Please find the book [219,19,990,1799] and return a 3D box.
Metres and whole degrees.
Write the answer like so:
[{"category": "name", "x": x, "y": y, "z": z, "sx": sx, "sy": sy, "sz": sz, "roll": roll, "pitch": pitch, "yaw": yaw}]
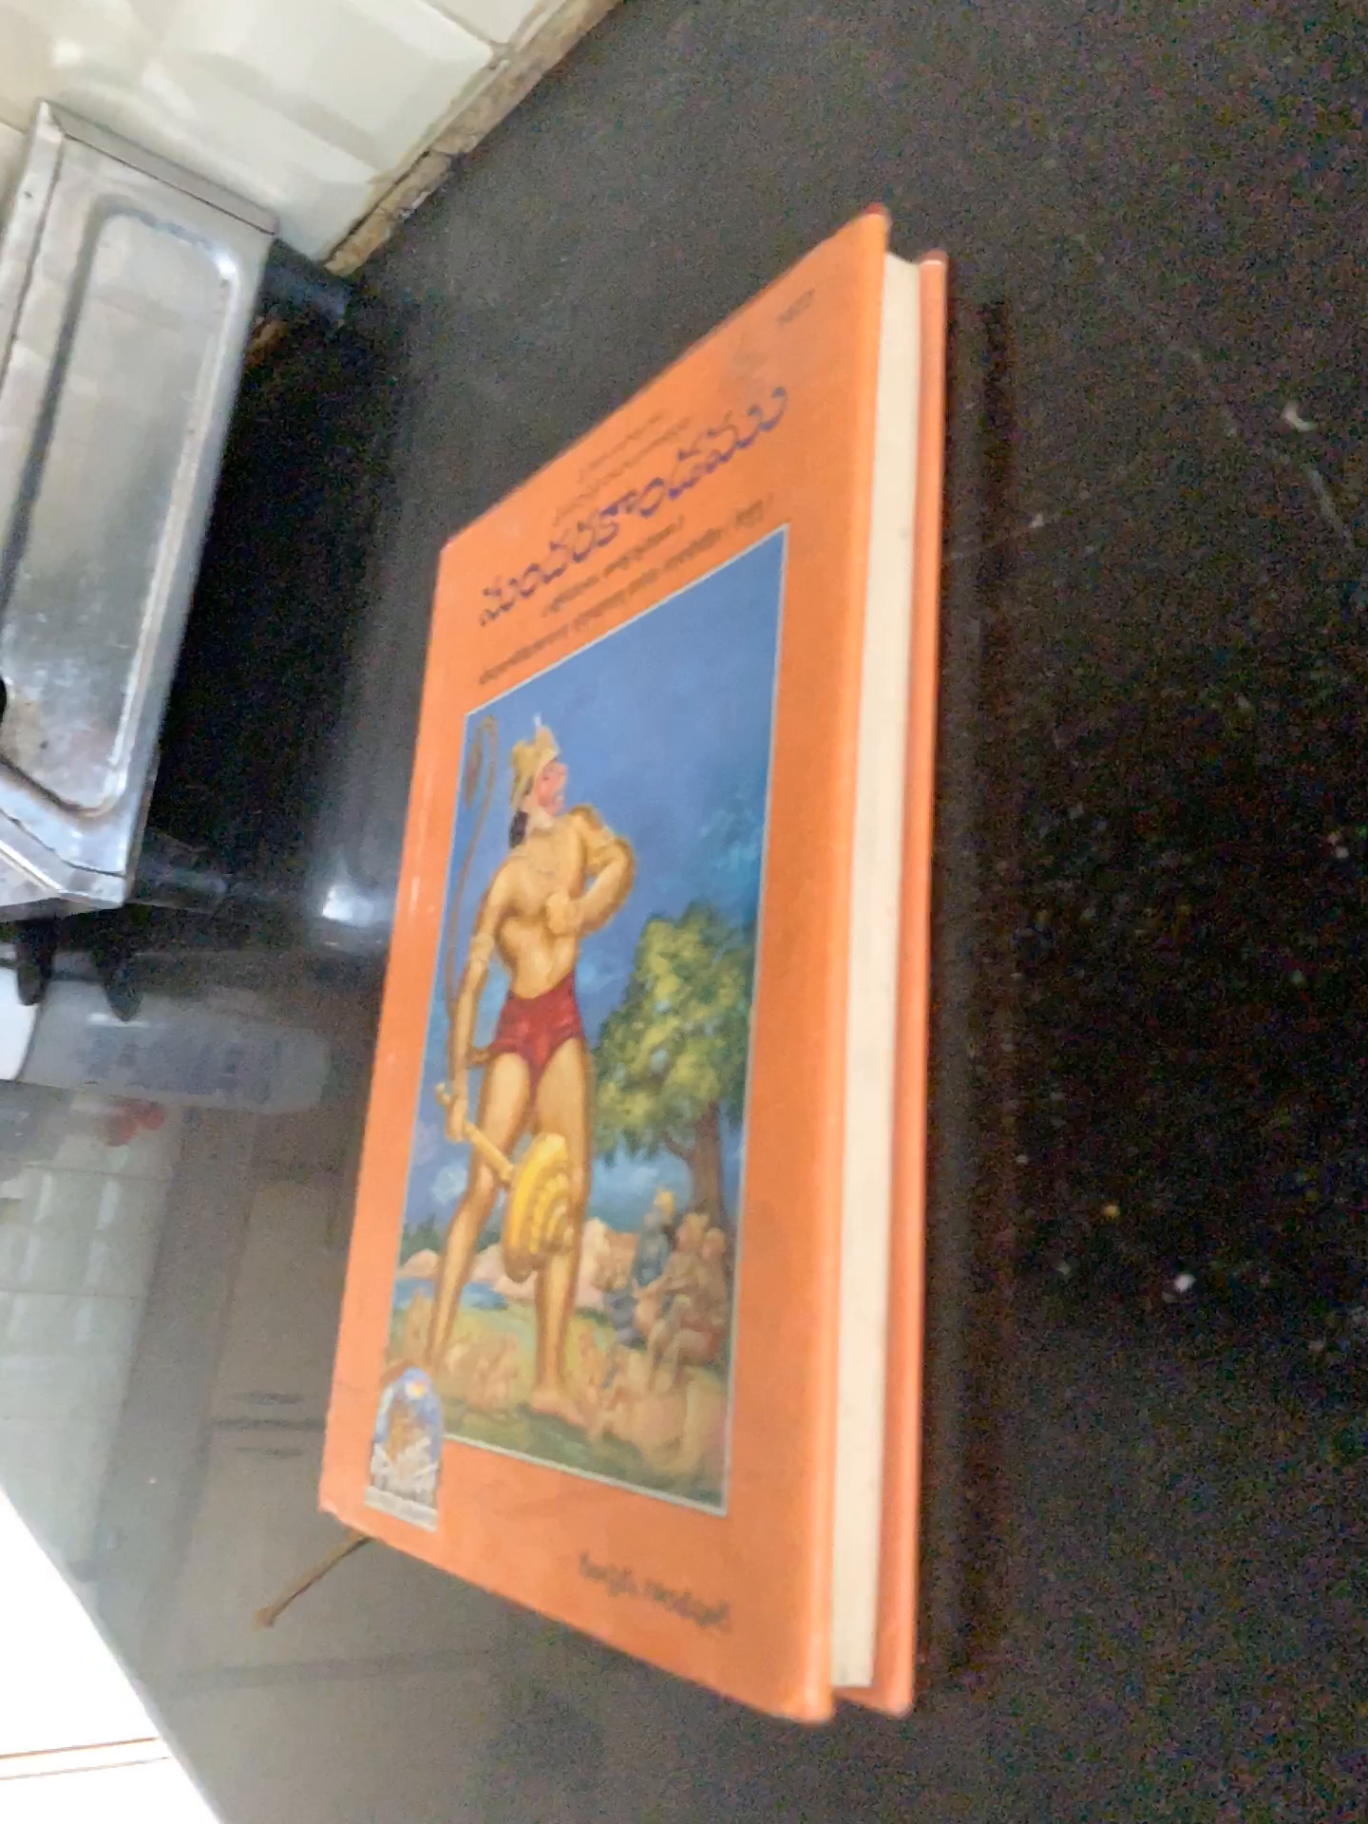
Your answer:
[{"category": "book", "x": -0.026, "y": -0.005, "z": 0.317, "sx": 0.201, "sy": 0.040, "sz": 0.301, "roll": -15, "pitch": 65, "yaw": 51}]
